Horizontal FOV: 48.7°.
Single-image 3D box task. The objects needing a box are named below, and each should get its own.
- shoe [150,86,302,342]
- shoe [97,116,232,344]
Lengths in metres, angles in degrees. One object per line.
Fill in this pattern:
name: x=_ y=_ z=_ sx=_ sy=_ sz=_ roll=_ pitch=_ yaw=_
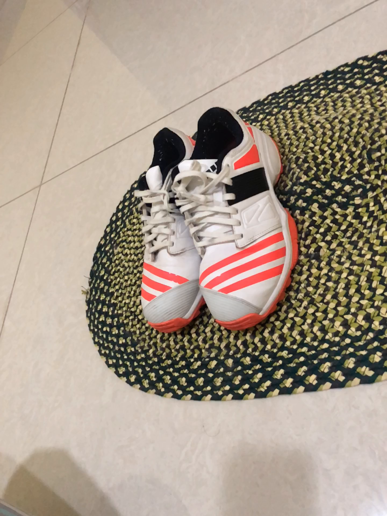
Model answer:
shoe: x=0.046 y=-0.045 z=0.478 sx=0.110 sy=0.100 sz=0.250 roll=-11 pitch=59 yaw=35
shoe: x=-0.028 y=-0.036 z=0.553 sx=0.100 sy=0.090 sz=0.270 roll=-11 pitch=59 yaw=35
